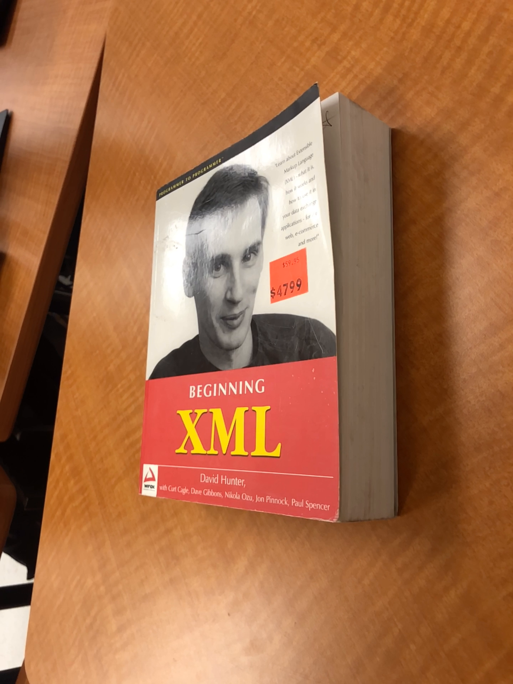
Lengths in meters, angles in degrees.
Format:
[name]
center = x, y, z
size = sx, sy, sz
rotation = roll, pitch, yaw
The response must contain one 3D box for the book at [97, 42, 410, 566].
[book]
center = -0.012, -0.014, 0.388
size = 0.221, 0.070, 0.270
rotation = -9, 75, 47
